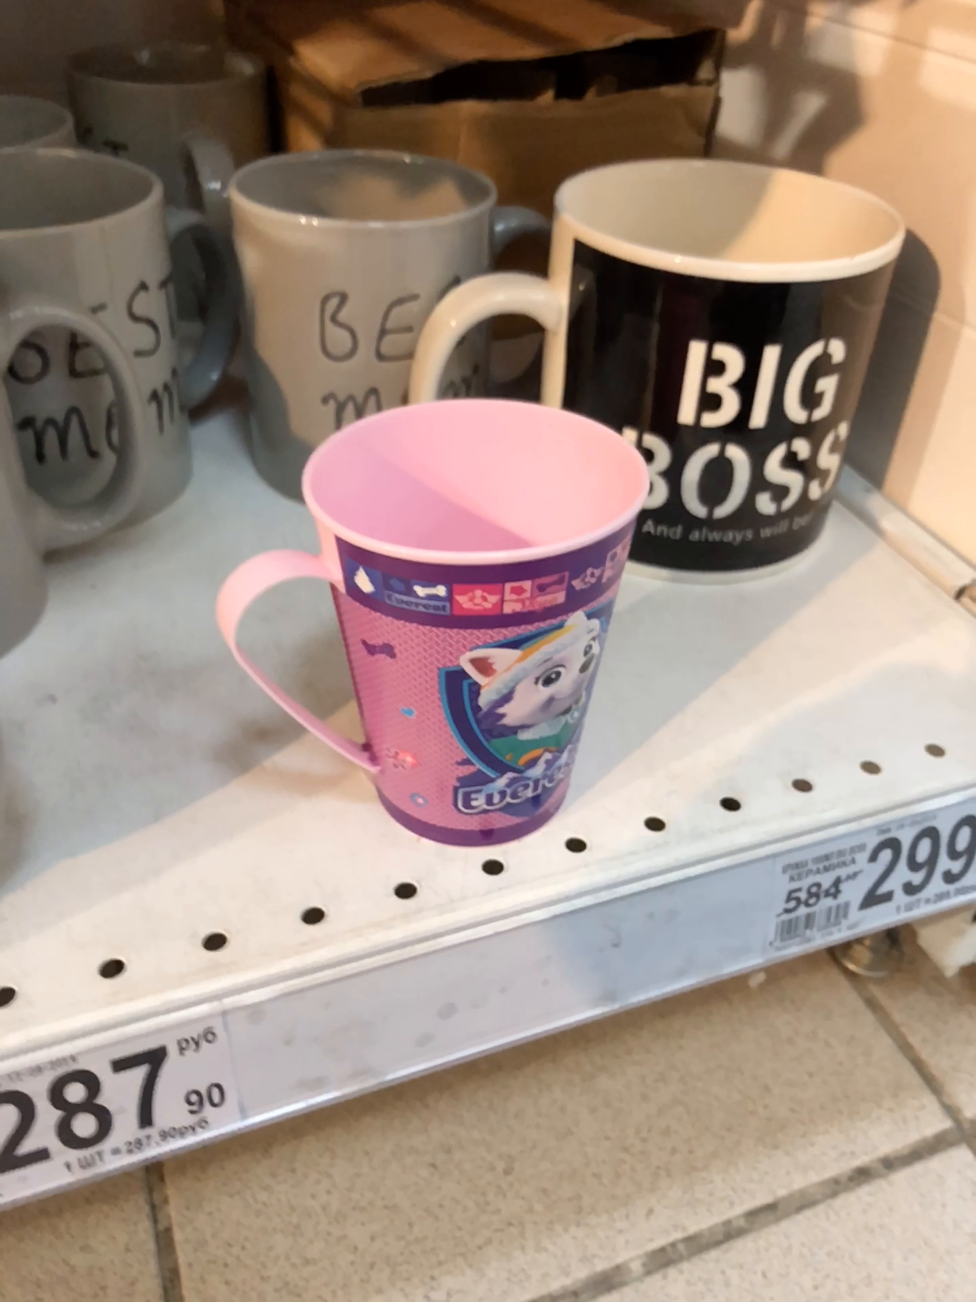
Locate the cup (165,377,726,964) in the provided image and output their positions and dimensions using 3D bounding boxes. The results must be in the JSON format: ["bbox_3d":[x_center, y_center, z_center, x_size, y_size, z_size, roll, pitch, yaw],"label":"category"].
[{"bbox_3d":[-0.014,0.000,0.288,0.108,0.104,0.078,-16,41,-25],"label":"cup"}]
